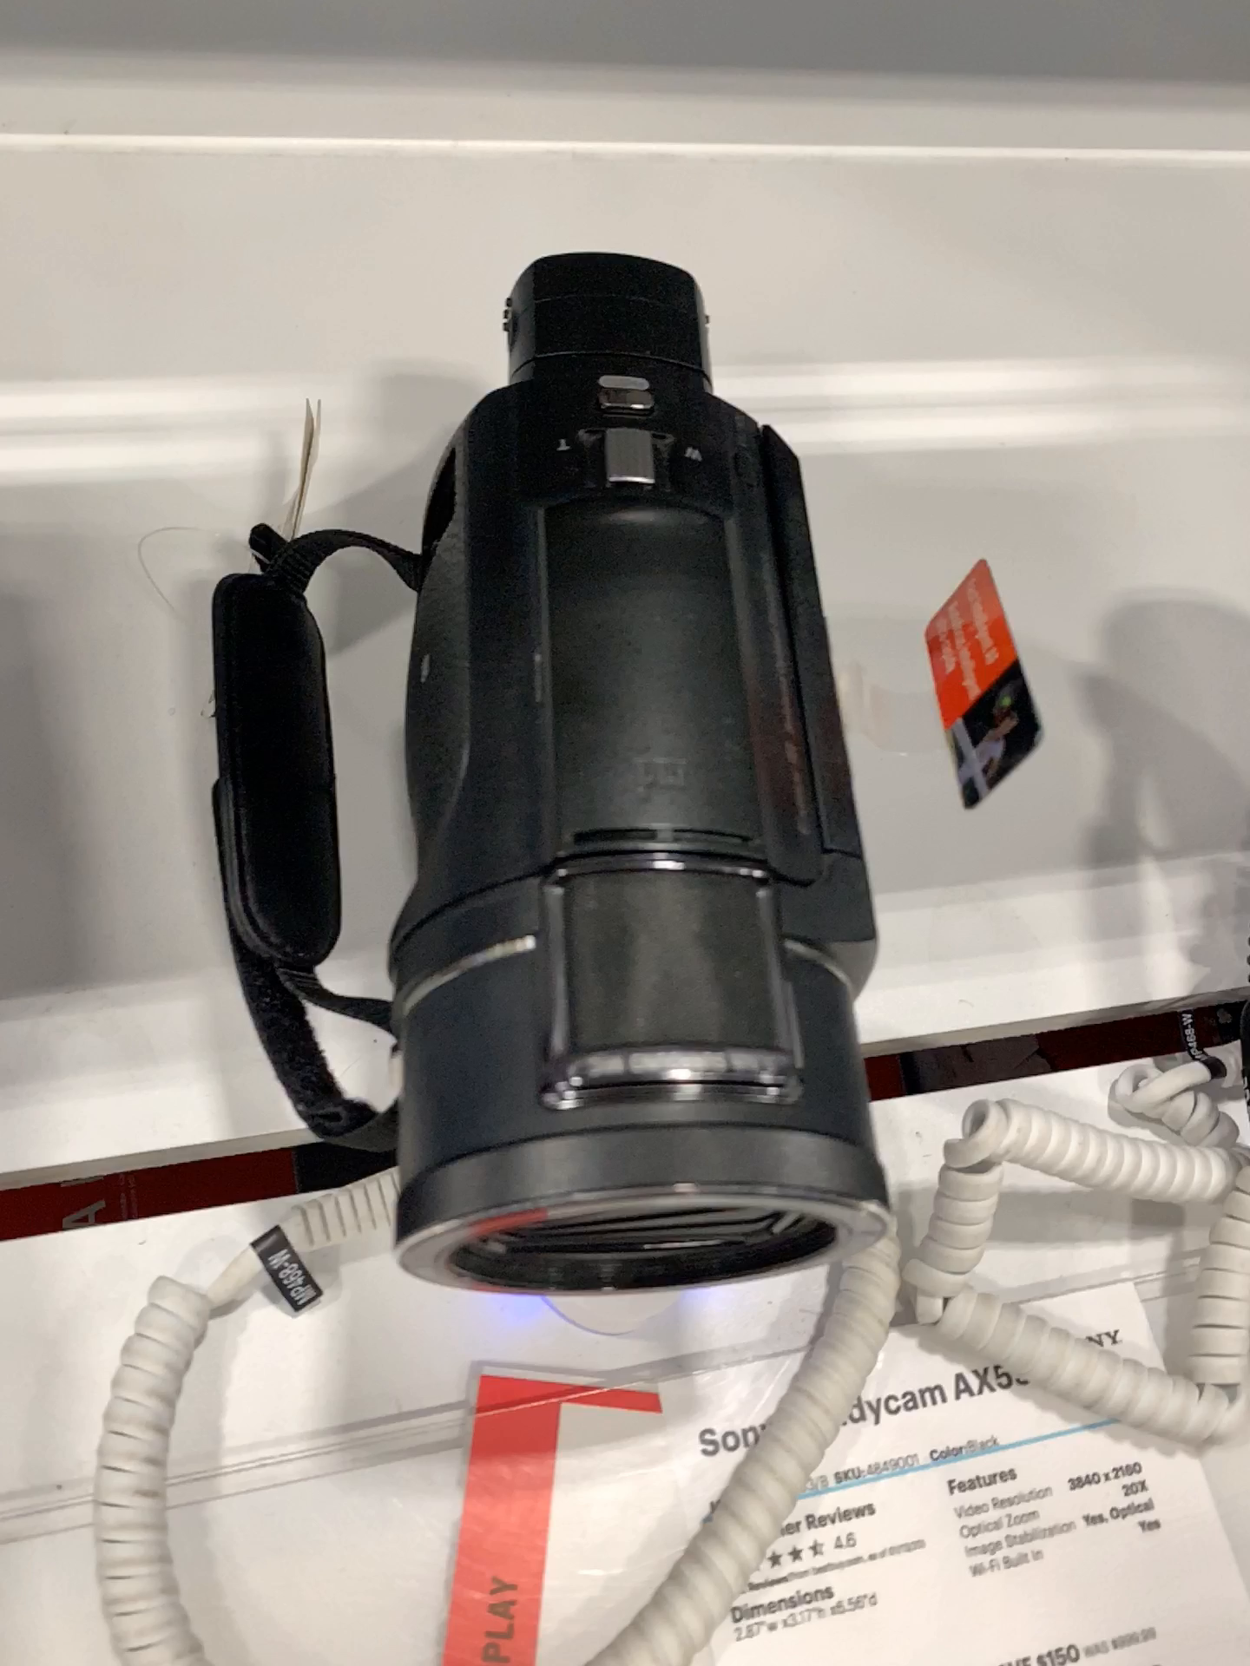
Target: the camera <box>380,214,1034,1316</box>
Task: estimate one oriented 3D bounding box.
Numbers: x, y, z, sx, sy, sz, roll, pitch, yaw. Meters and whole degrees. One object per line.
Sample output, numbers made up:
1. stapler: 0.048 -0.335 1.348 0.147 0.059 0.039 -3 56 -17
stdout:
1. camera: 0.000 -0.011 0.201 0.070 0.071 0.151 2 62 -10
